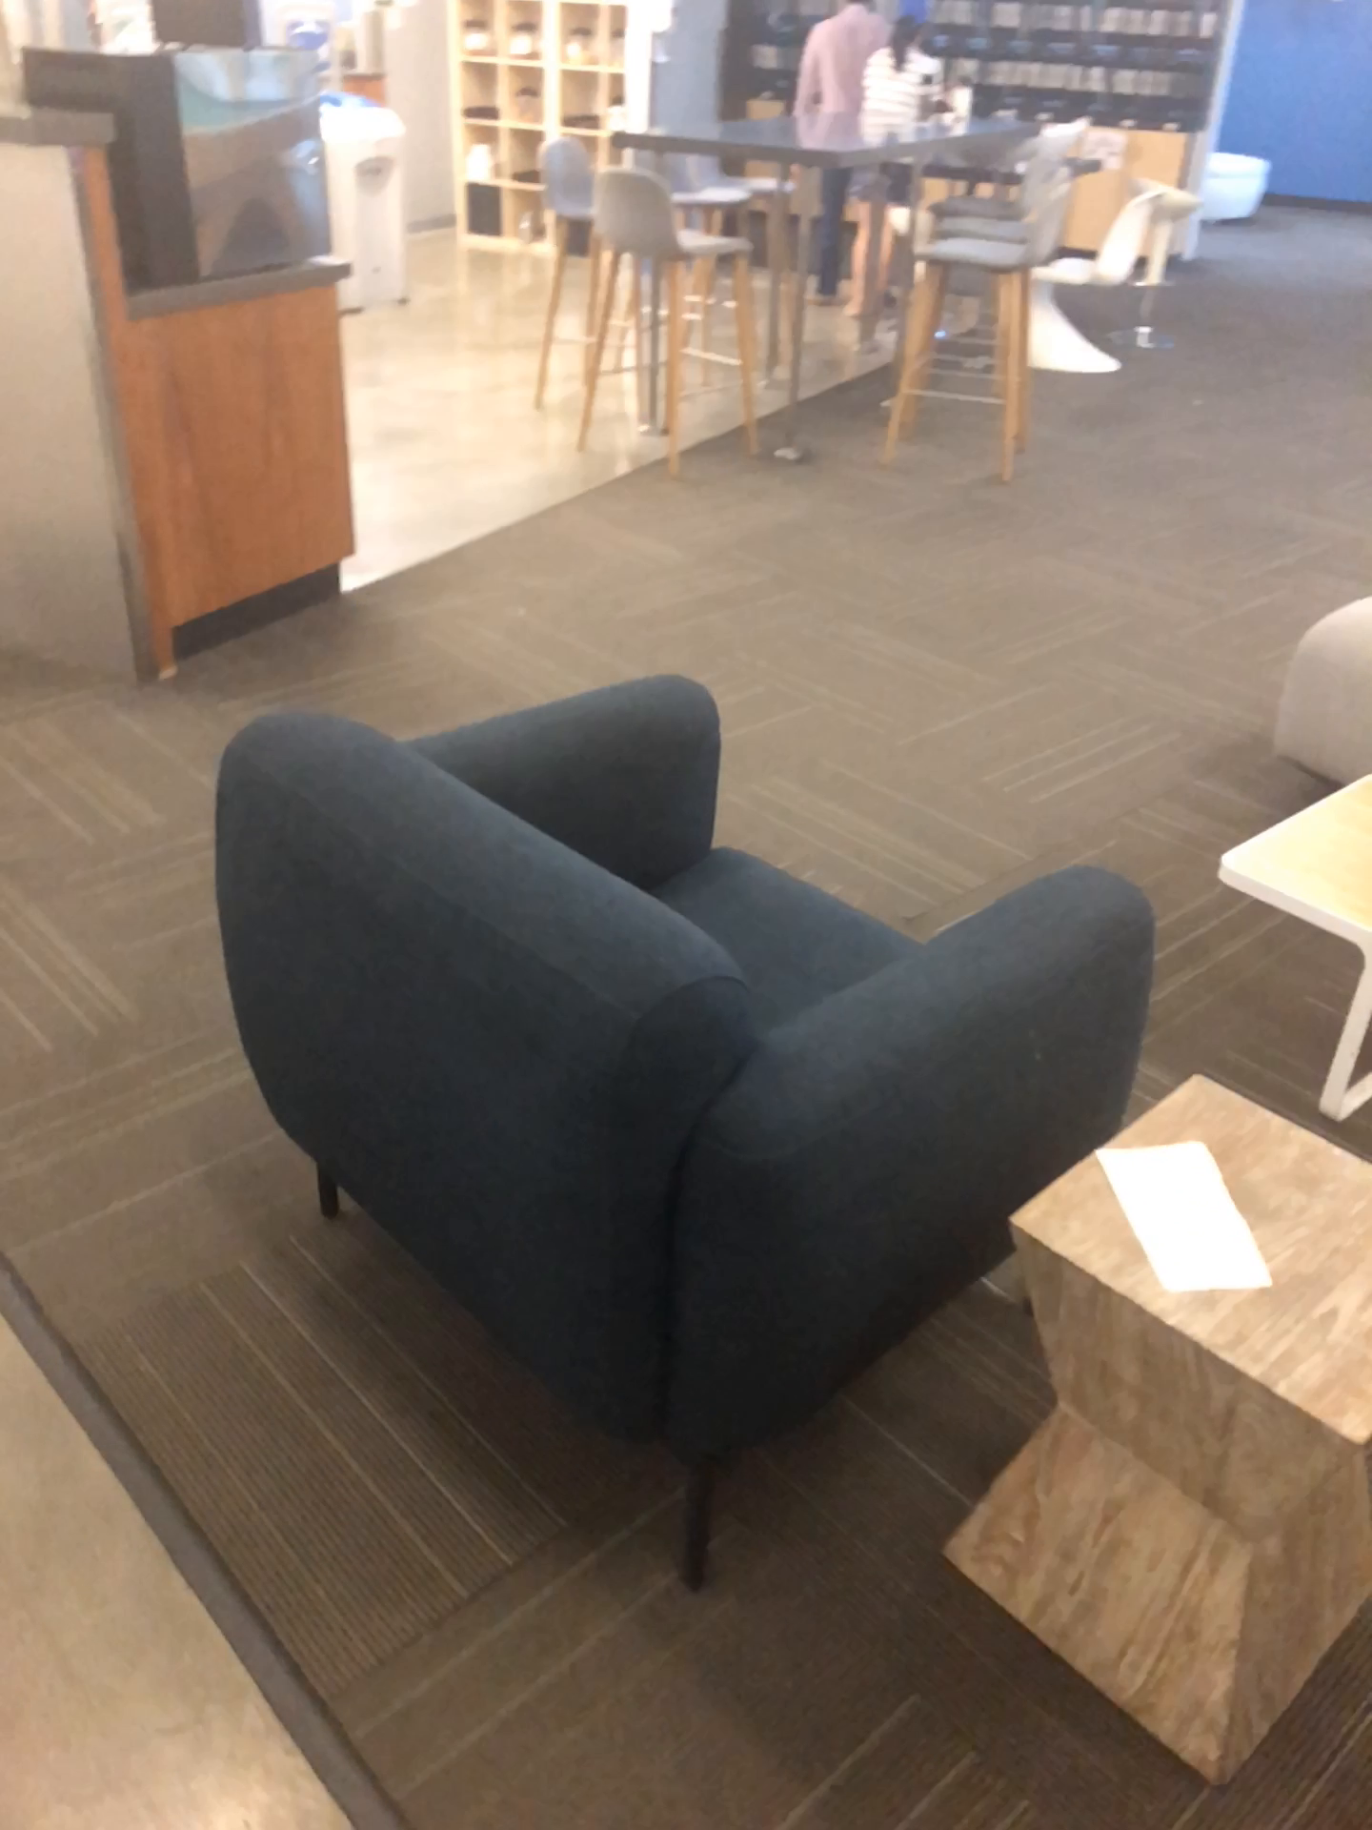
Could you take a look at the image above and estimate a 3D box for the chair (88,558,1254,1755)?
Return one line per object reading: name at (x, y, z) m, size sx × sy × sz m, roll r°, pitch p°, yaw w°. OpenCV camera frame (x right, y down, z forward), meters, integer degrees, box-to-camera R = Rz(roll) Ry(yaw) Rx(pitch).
chair at (-0.040, 0.154, 1.802) m, size 0.845 × 0.784 × 0.922 m, roll -24°, pitch 40°, yaw -37°
